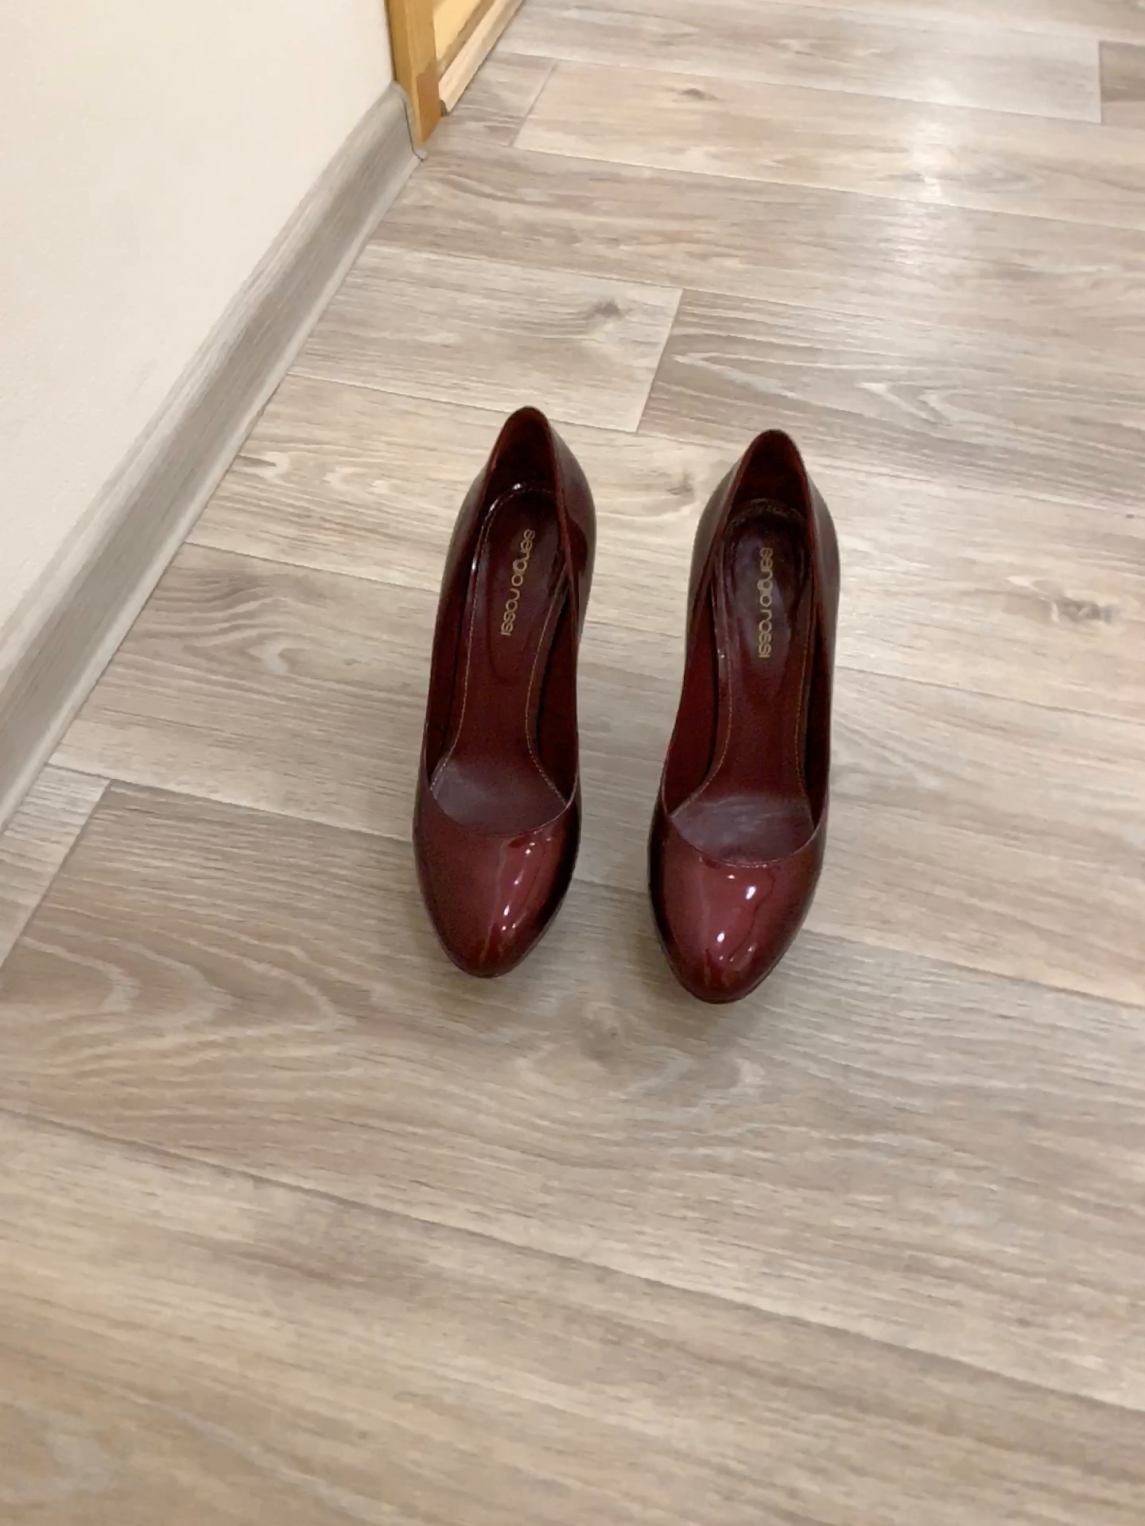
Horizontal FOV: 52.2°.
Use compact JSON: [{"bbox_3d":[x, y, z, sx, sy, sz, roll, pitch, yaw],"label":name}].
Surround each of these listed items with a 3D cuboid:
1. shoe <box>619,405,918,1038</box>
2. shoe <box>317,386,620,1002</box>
[{"bbox_3d":[0.076,-0.019,0.490,0.086,0.149,0.211,6,54,3],"label":"shoe"},{"bbox_3d":[-0.032,-0.031,0.499,0.086,0.149,0.211,4,53,2],"label":"shoe"}]
